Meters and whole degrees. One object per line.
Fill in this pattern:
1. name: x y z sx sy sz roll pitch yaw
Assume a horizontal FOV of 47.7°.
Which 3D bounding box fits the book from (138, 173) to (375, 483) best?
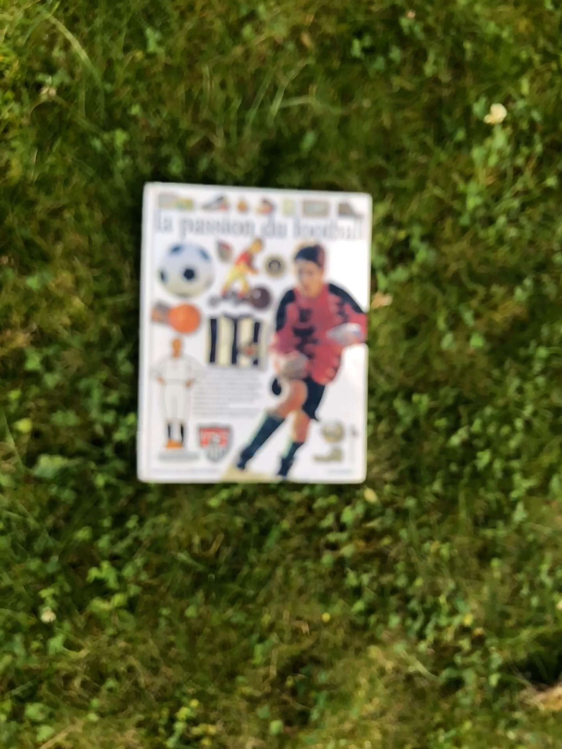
1. book: -0.023 -0.043 0.637 0.230 0.020 0.300 1 90 -6
